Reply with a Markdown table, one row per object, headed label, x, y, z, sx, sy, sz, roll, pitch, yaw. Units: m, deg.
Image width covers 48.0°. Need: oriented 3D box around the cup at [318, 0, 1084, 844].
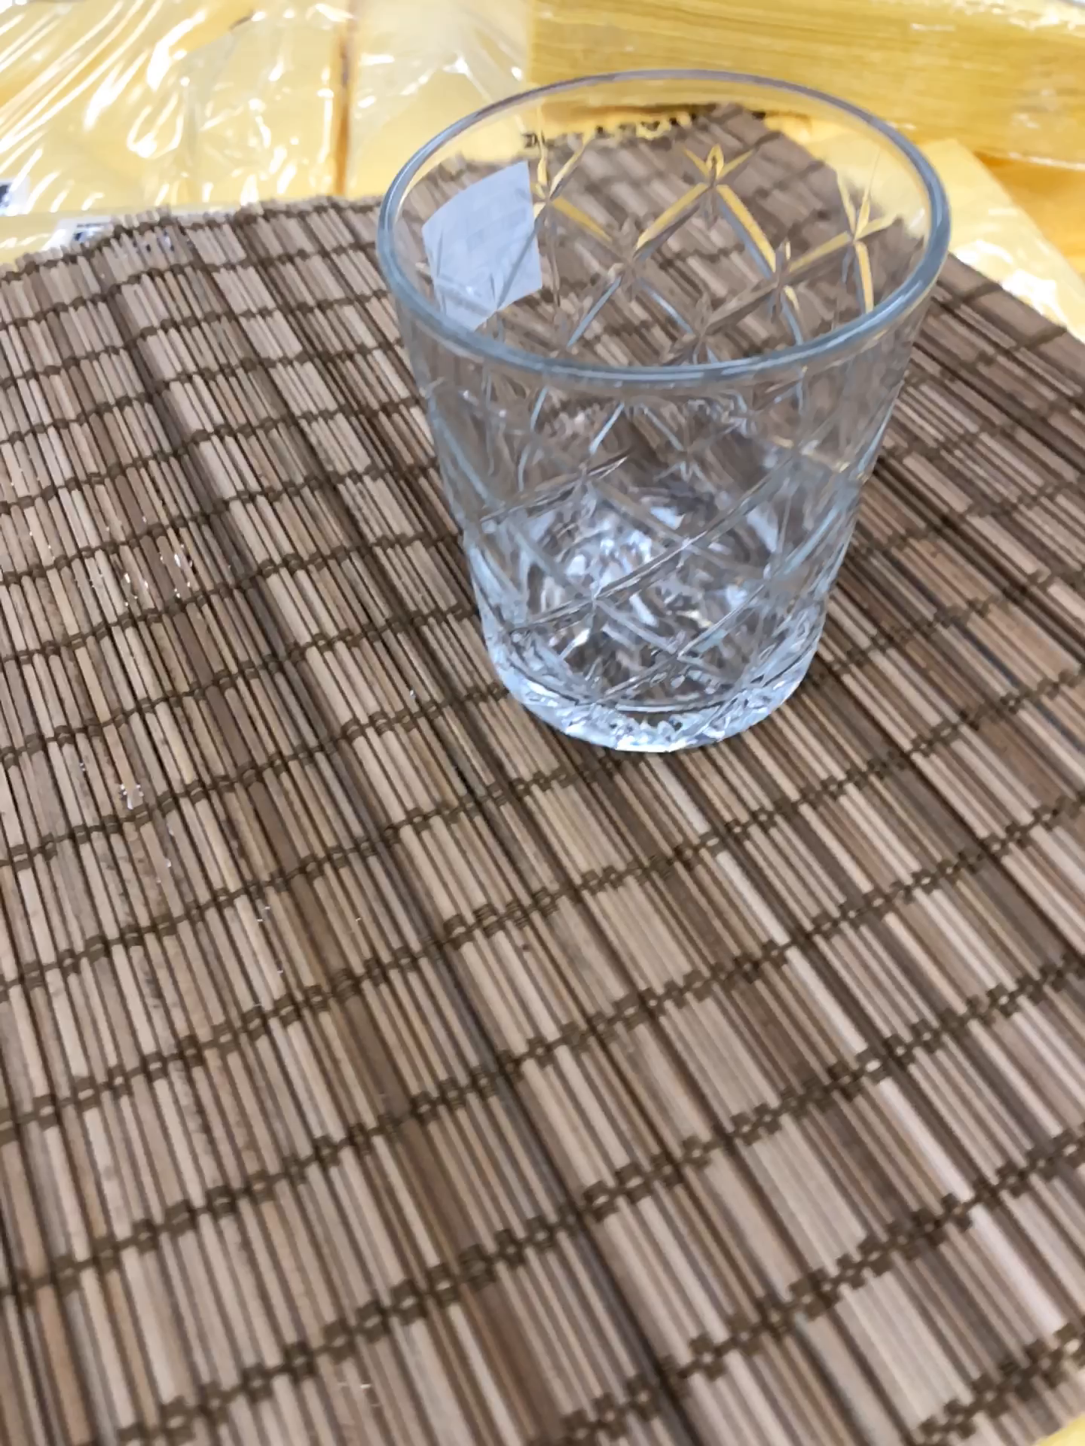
| label | x | y | z | sx | sy | sz | roll | pitch | yaw |
| --- | --- | --- | --- | --- | --- | --- | --- | --- | --- |
| cup | 0.025 | -0.052 | 0.199 | 0.080 | 0.090 | 0.080 | -1 | 49 | 2 |
